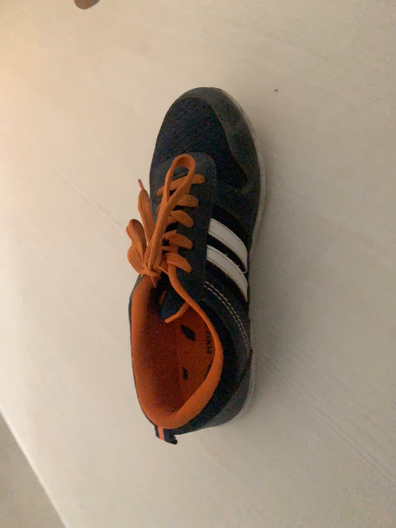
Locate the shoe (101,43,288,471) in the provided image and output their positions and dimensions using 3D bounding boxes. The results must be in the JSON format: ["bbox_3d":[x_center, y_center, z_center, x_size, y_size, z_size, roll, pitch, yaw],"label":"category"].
[{"bbox_3d":[0.002,-0.005,0.296,0.101,0.080,0.250,-4,80,34],"label":"shoe"}]
